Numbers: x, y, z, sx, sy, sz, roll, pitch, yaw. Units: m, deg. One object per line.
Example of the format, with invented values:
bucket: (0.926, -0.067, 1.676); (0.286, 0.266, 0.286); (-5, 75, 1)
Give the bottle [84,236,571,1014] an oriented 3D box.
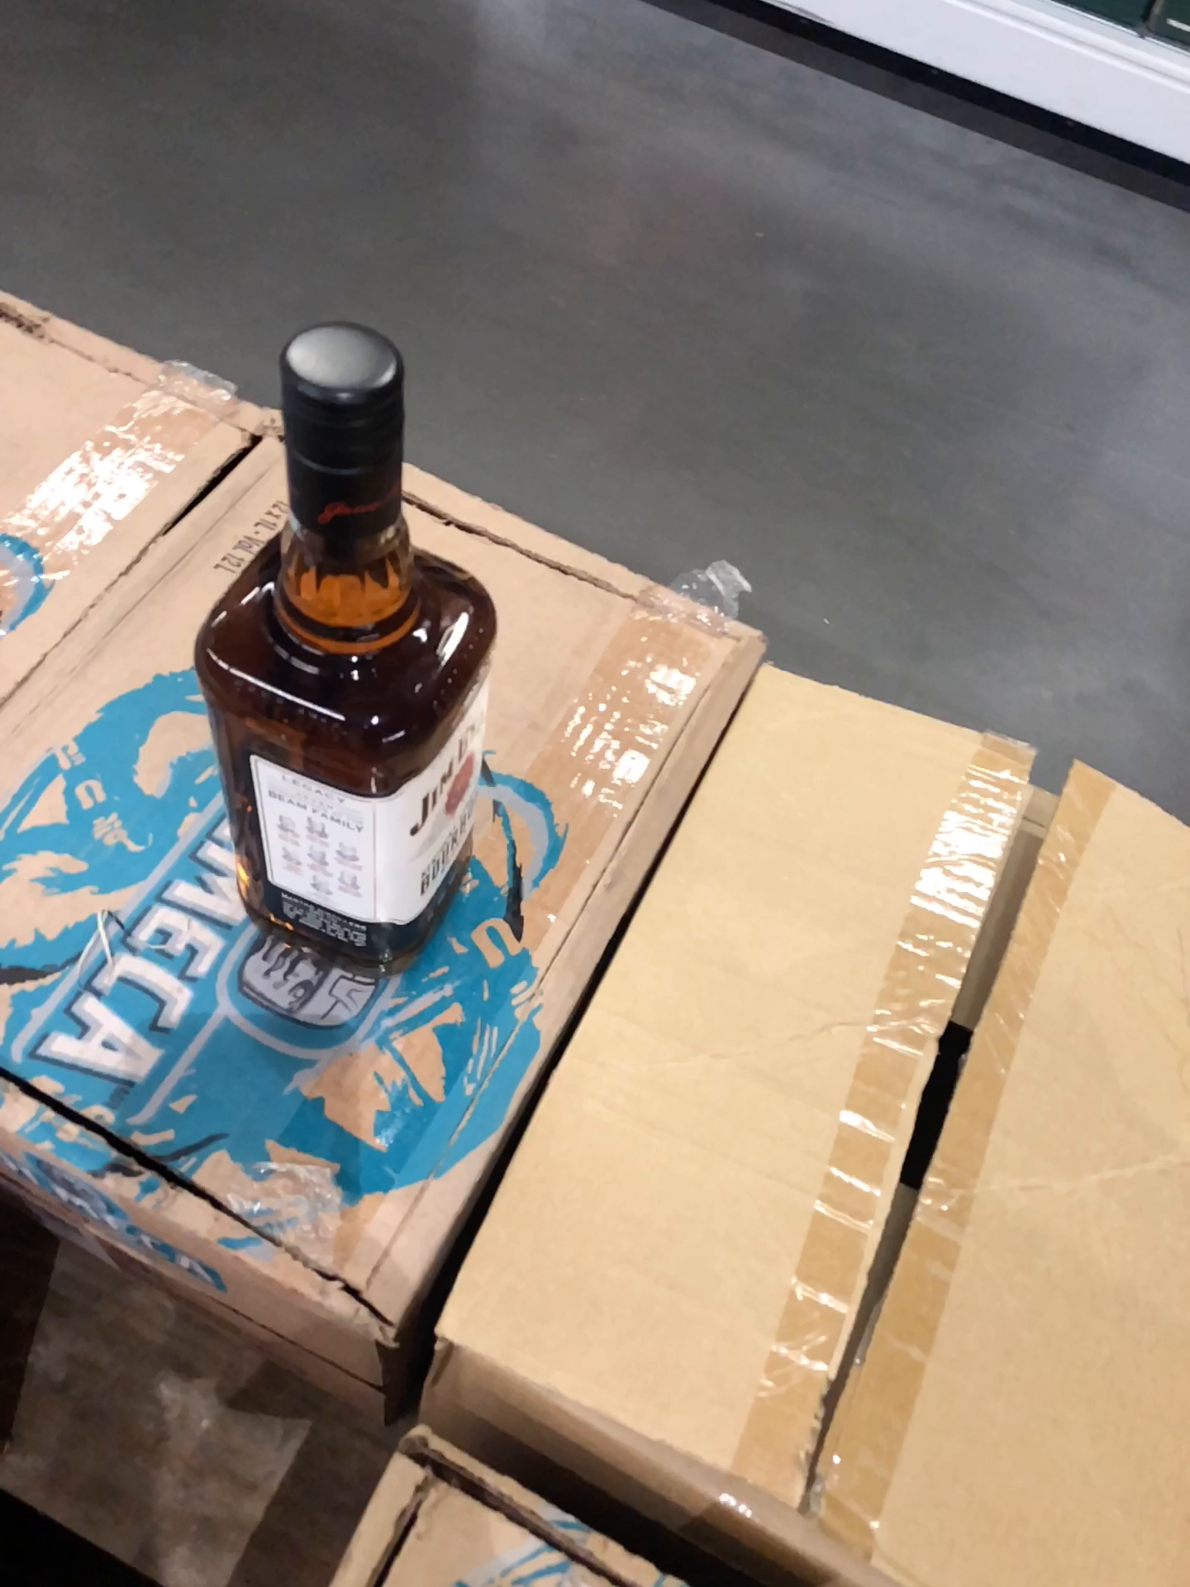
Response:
bottle: (-0.079, -0.033, 0.434); (0.086, 0.259, 0.090); (4, 57, -6)
